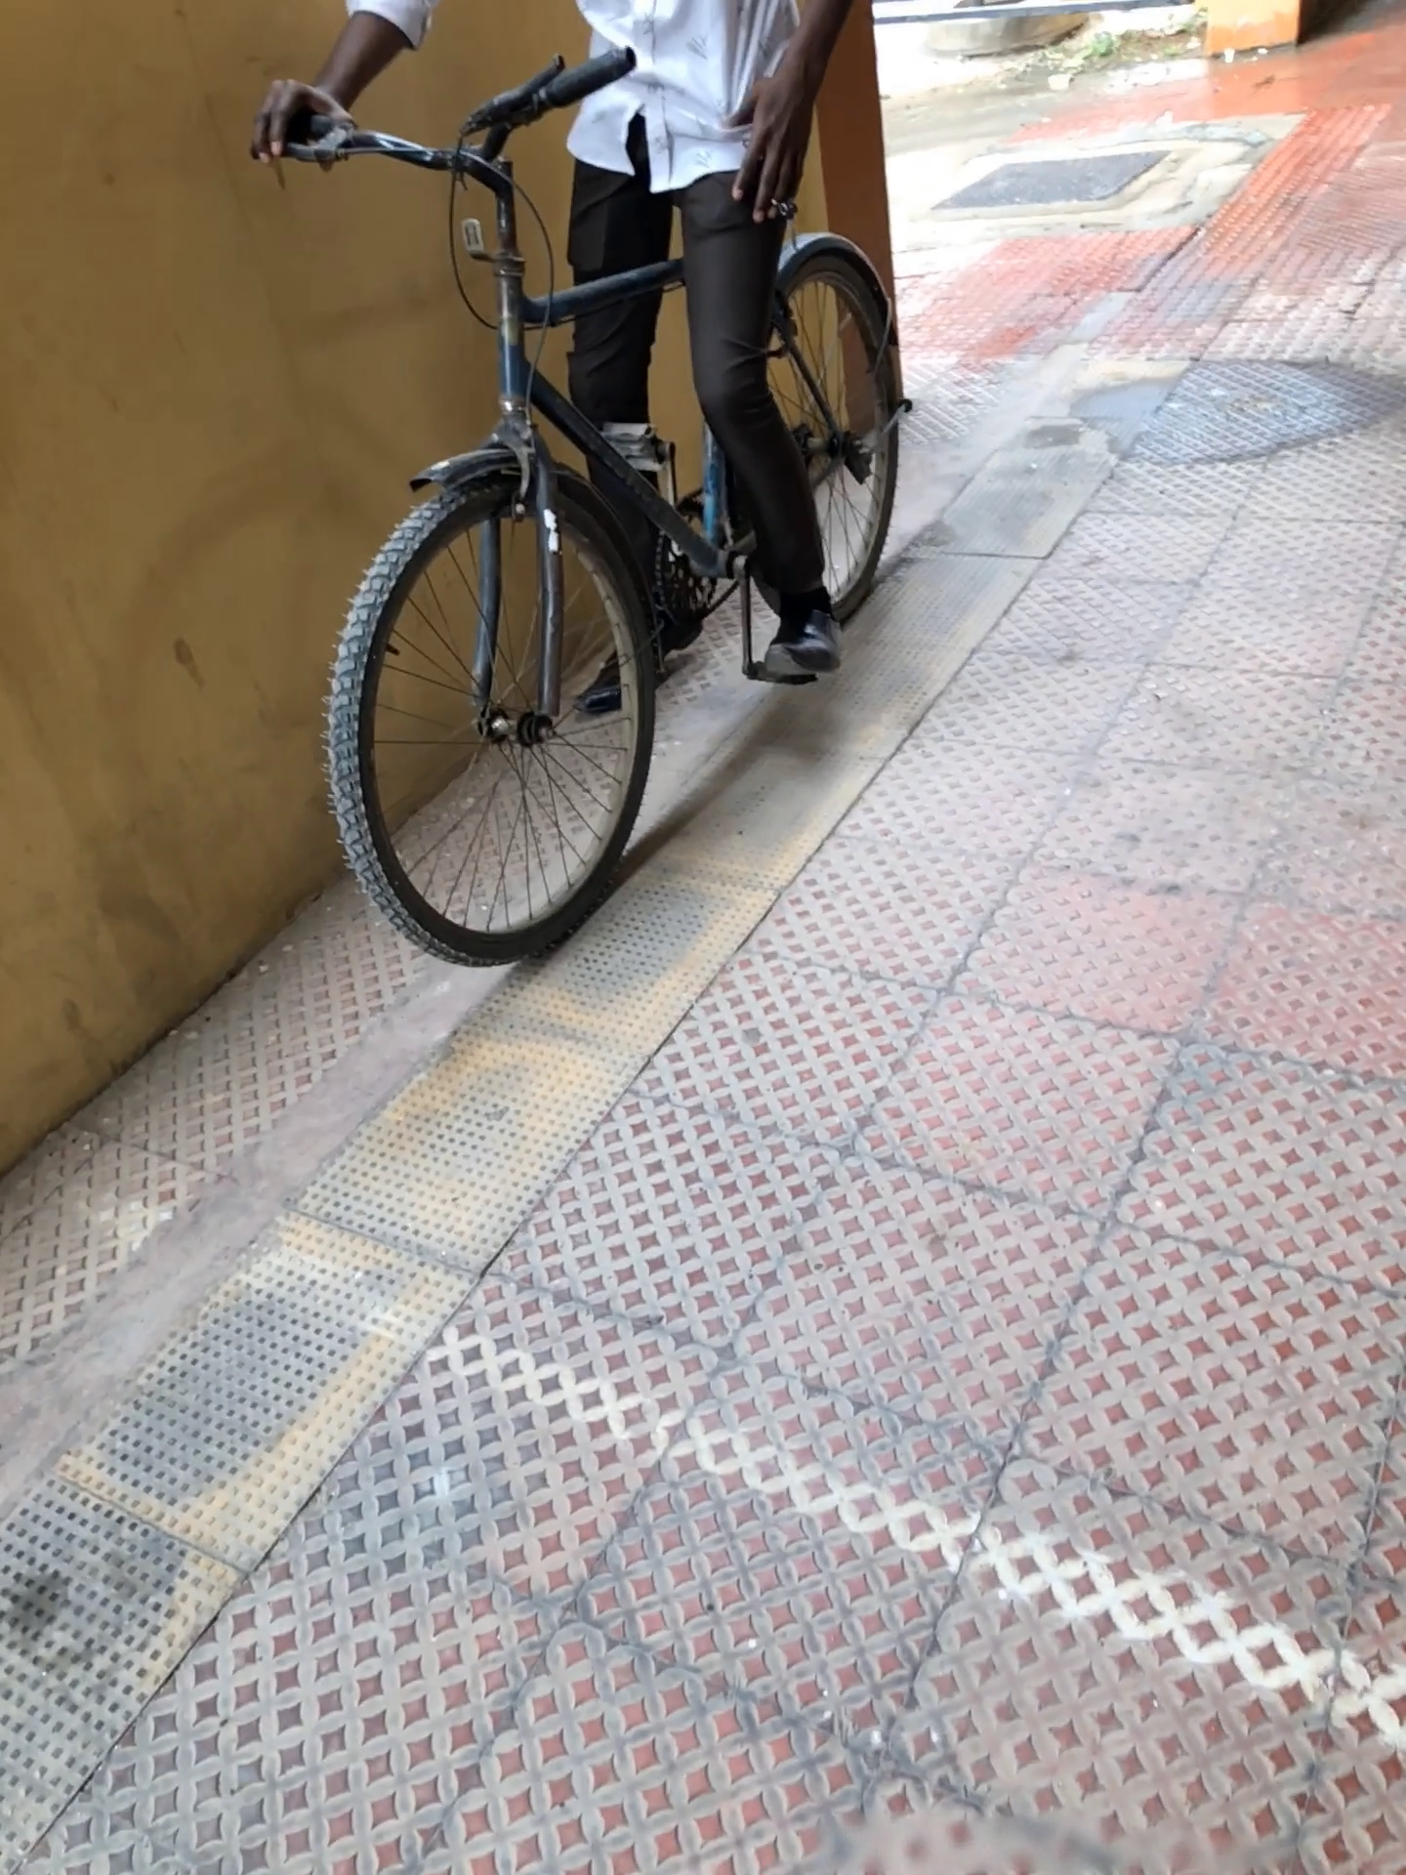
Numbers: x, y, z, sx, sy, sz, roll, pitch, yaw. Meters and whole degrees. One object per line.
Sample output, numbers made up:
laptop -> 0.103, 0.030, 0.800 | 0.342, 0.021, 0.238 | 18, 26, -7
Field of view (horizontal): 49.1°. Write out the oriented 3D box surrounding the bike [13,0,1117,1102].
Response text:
bike -> 0.055, -0.730, 2.097 | 0.588, 1.024, 1.582 | 13, 39, 29
